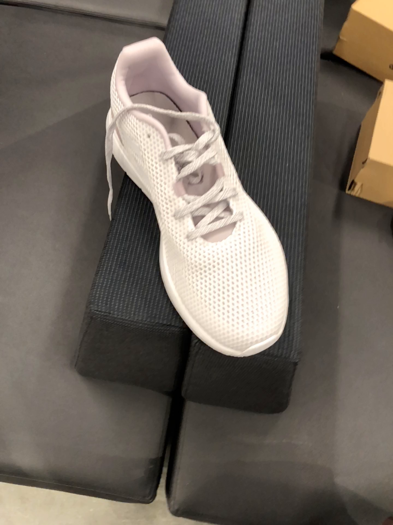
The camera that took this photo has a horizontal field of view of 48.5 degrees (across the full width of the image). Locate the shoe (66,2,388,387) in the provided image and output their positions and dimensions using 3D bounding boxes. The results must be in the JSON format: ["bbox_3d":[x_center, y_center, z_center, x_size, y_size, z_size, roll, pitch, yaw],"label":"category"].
[{"bbox_3d":[0.005,-0.059,0.381,0.120,0.140,0.280,-22,69,-13],"label":"shoe"}]
